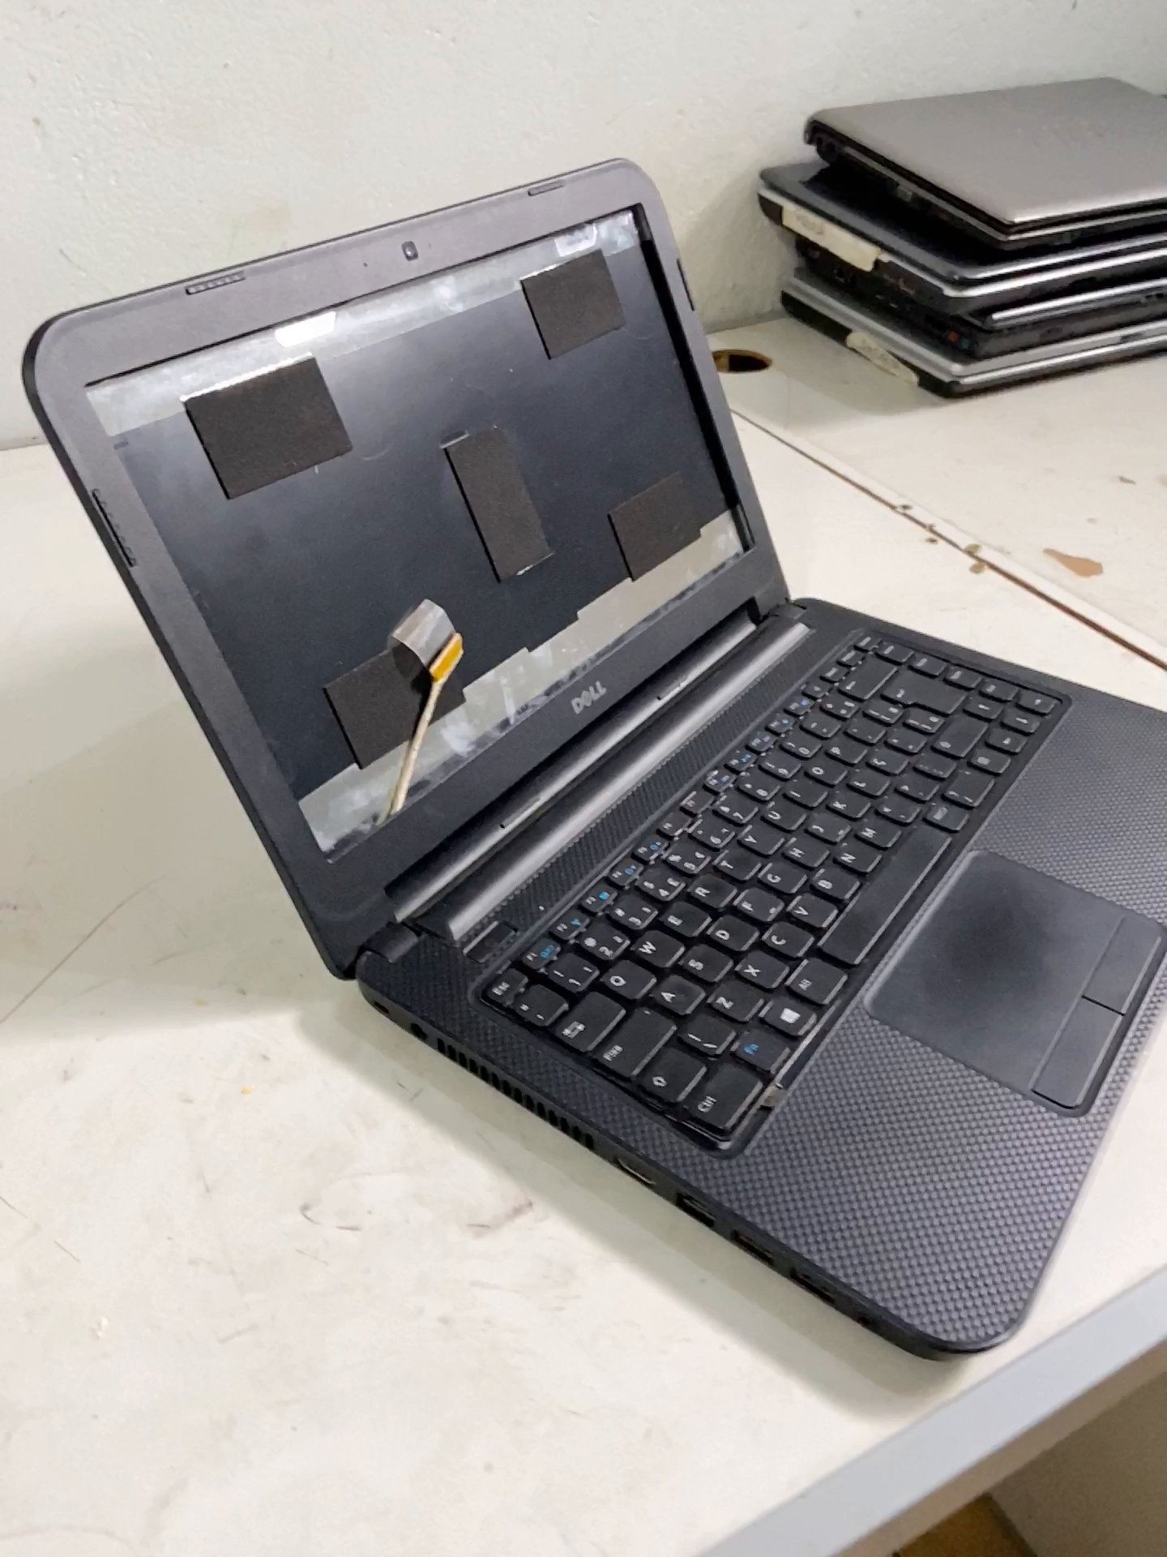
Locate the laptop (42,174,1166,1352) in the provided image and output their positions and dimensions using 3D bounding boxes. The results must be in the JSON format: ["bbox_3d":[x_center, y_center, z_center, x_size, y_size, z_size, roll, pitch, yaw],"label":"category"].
[{"bbox_3d":[0.067,-0.066,0.437,0.335,0.193,0.321,24,44,28],"label":"laptop"}]
